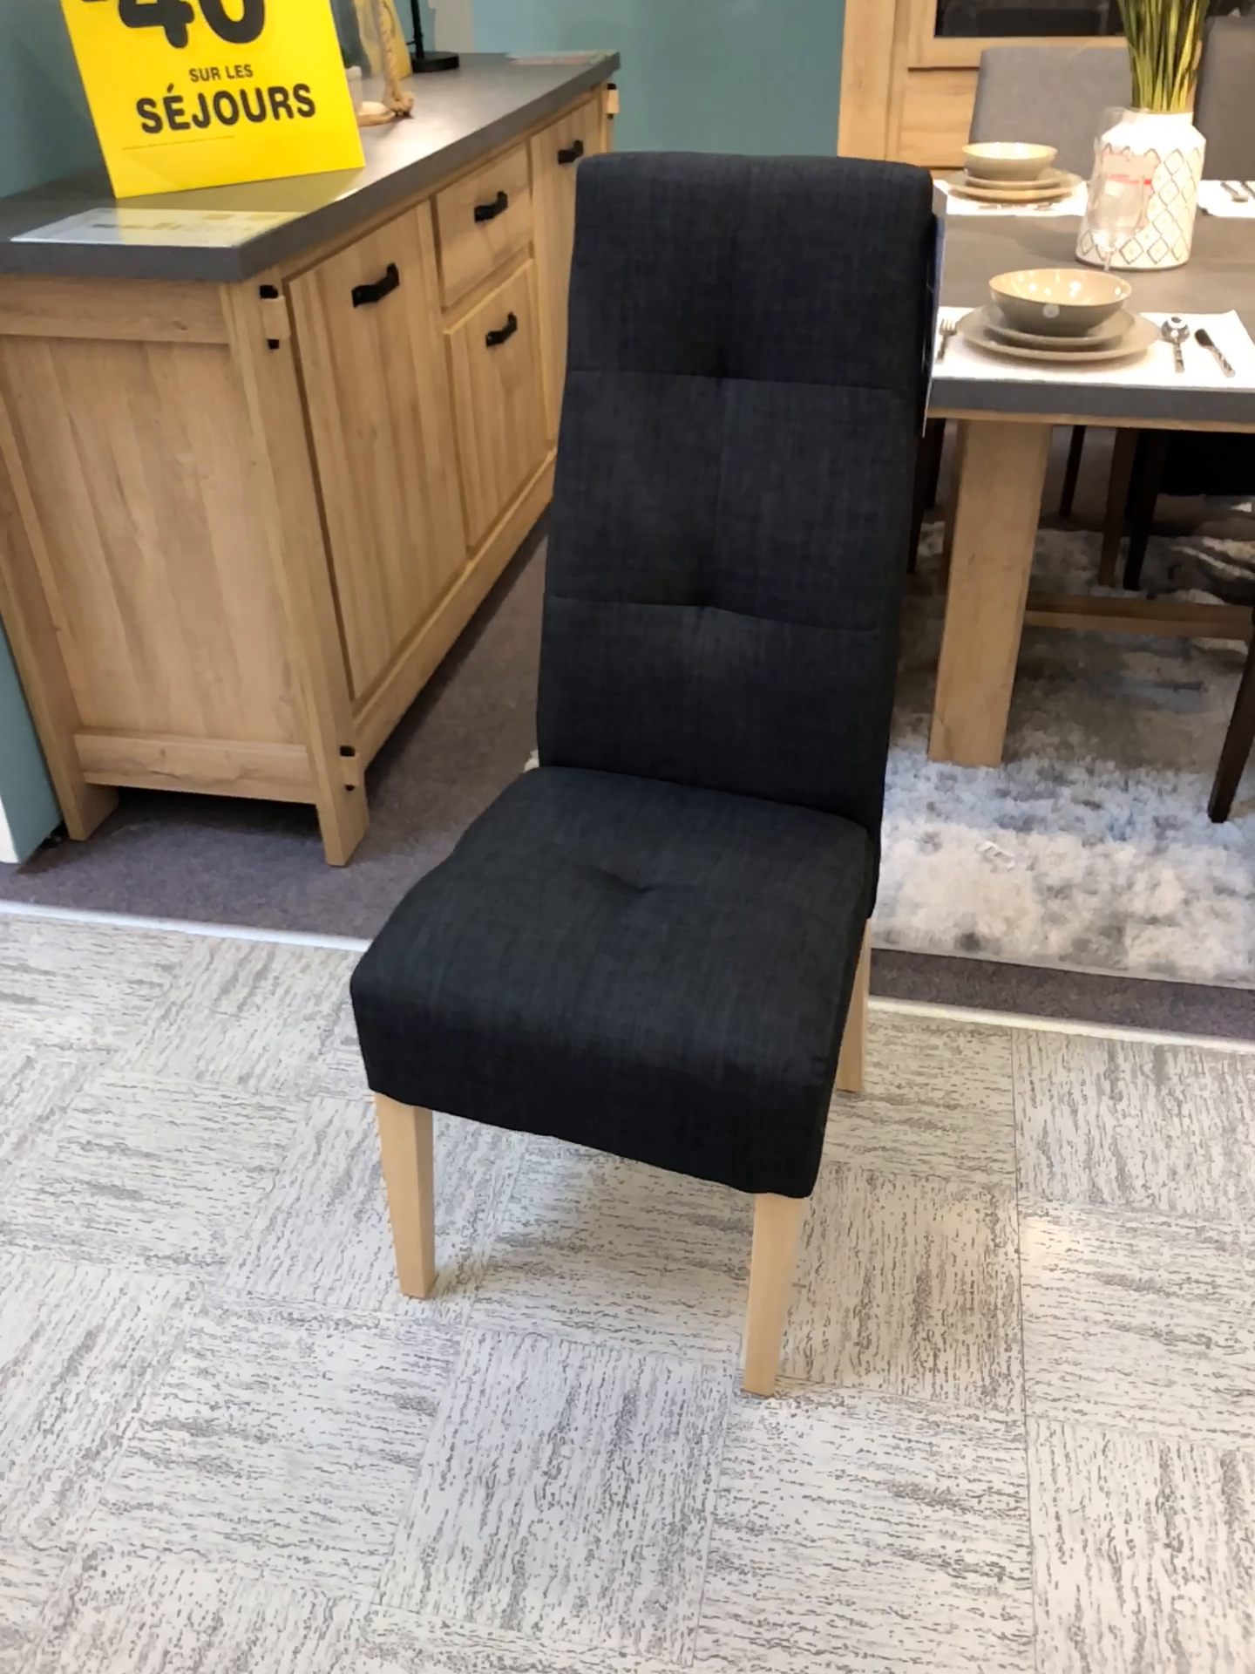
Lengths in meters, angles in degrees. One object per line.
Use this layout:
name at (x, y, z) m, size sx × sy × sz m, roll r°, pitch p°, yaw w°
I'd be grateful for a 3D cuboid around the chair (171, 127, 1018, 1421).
chair at (0.040, -0.063, 1.343) m, size 0.480 × 1.044 × 0.604 m, roll 9°, pitch 36°, yaw 15°
